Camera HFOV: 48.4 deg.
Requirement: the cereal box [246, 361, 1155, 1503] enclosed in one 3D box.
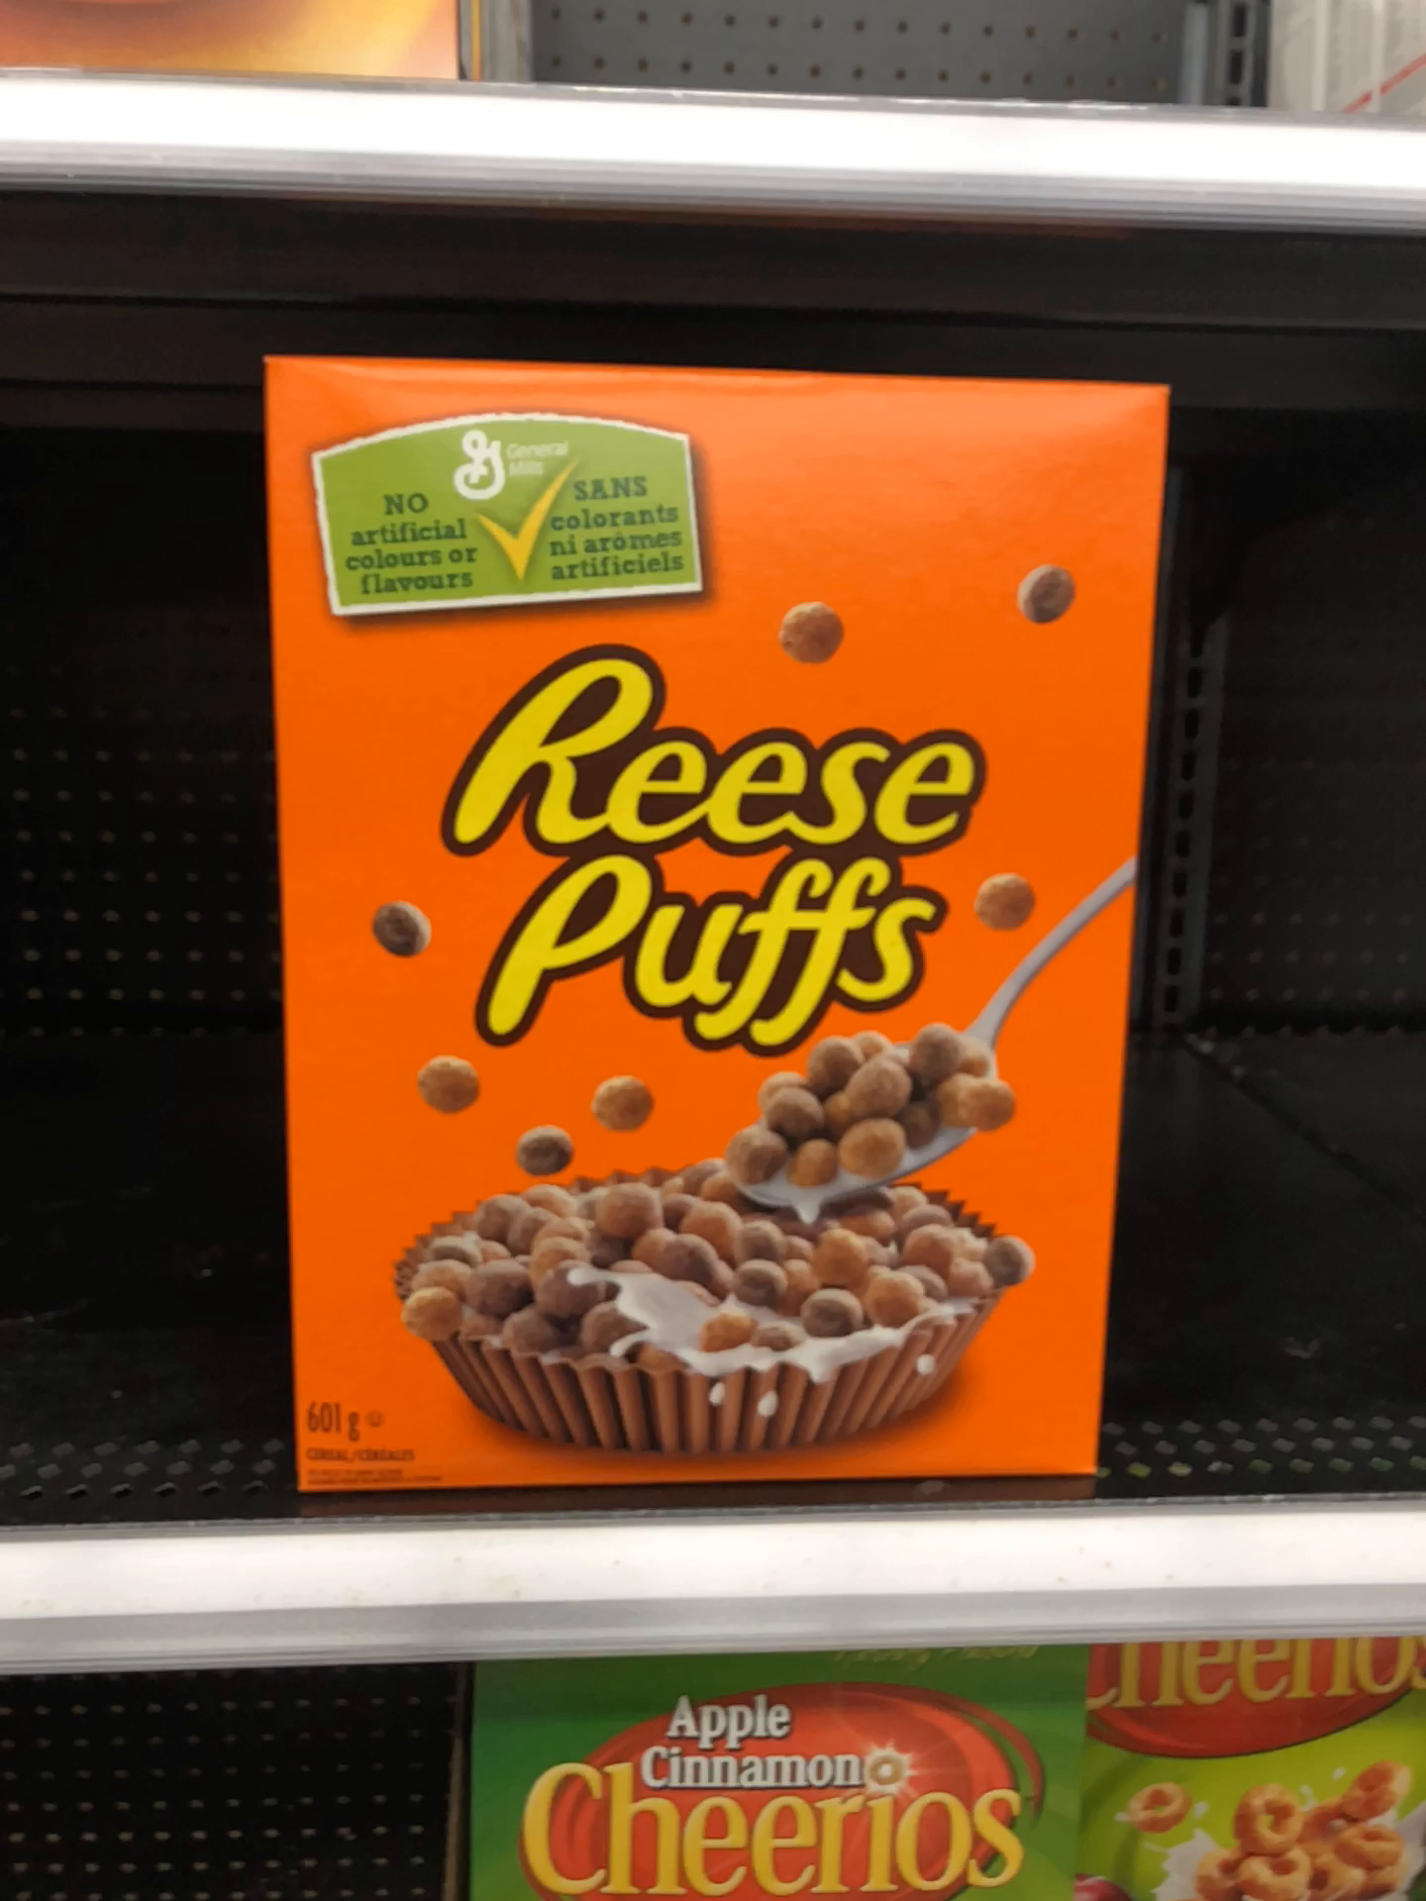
[{"bbox_3d":[-0.005,-0.002,0.481,0.240,0.319,0.070,0,11,-5],"label":"cereal box"}]
